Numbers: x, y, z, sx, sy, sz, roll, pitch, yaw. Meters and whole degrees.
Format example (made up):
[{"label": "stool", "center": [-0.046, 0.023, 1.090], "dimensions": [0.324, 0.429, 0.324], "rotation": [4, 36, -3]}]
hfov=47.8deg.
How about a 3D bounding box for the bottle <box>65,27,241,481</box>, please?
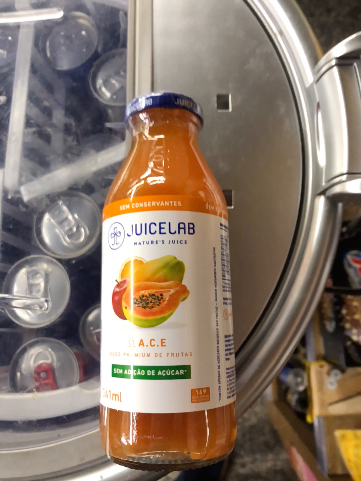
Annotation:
[{"label": "bottle", "center": [-0.008, 0.003, 0.197], "dimensions": [0.070, 0.050, 0.190], "rotation": [-1, 81, 8]}]
